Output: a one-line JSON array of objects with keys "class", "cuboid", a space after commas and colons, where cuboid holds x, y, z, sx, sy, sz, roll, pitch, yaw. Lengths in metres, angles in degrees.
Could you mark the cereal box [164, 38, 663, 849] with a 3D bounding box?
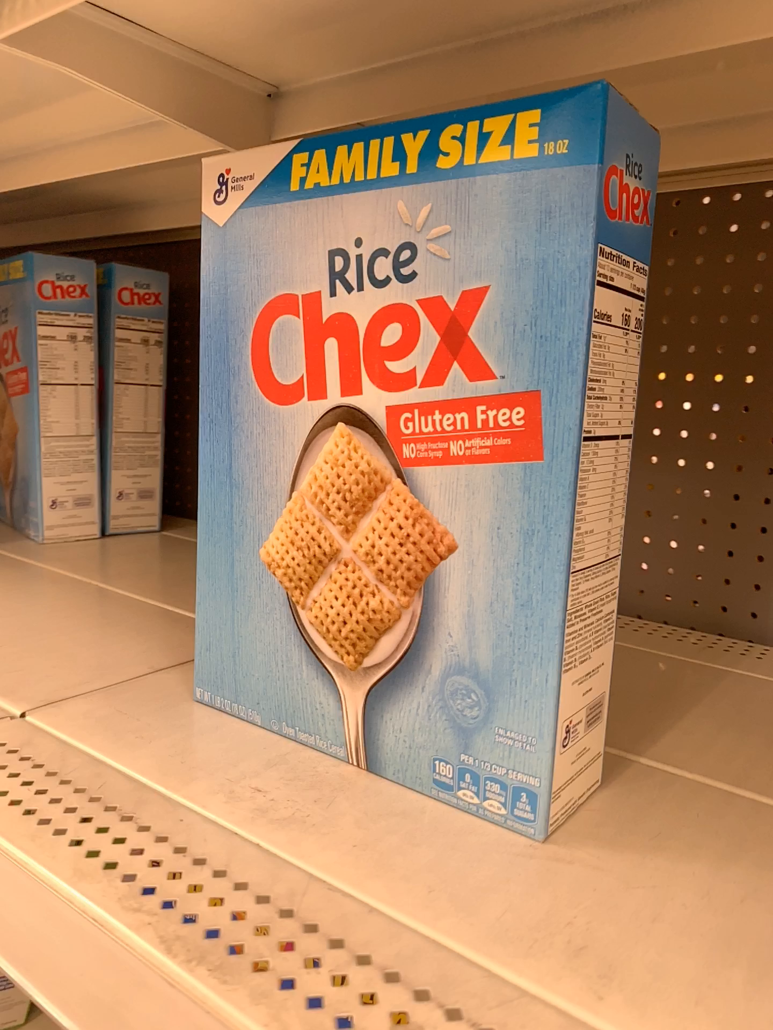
[{"class": "cereal box", "cuboid": [-0.006, -0.036, 0.420, 0.250, 0.319, 0.080, 9, 11, 37]}]
